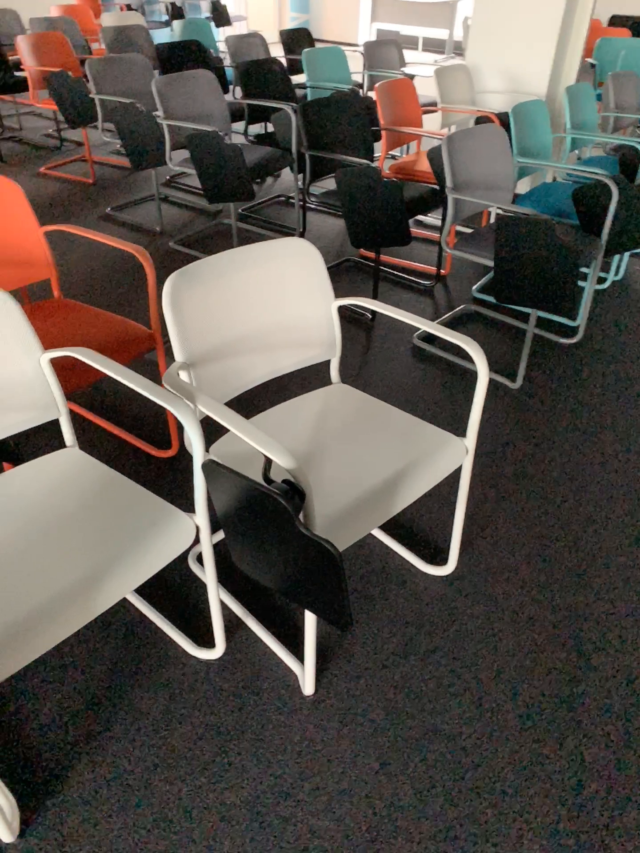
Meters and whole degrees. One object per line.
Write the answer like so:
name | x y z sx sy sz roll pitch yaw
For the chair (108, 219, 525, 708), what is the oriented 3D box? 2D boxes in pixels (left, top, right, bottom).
chair | -0.017 0.047 1.453 0.563 0.755 0.551 -29 46 -35
